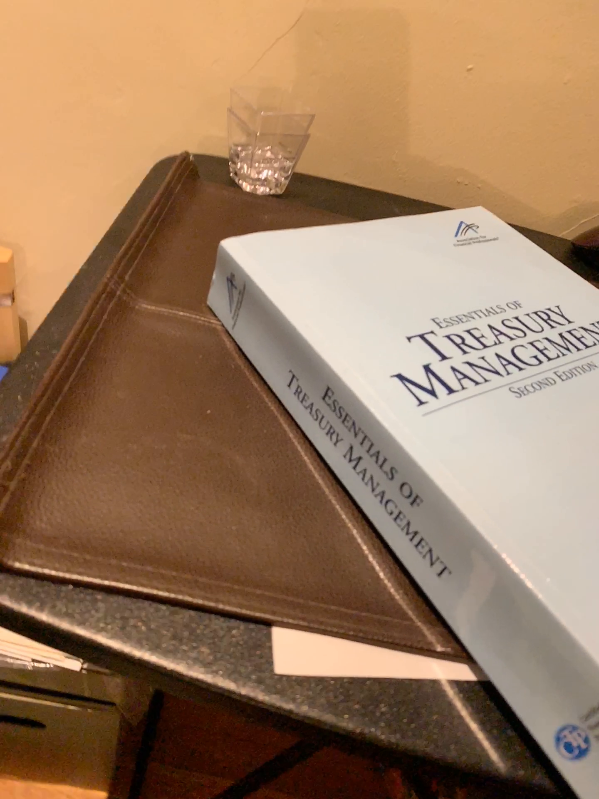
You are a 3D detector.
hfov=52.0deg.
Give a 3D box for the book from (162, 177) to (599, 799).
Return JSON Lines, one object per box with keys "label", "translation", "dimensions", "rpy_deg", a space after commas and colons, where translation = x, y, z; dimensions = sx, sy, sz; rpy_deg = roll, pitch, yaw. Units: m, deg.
{"label": "book", "translation": [0.097, -0.008, 0.307], "dimensions": [0.220, 0.060, 0.301], "rpy_deg": [-15, 51, -31]}
